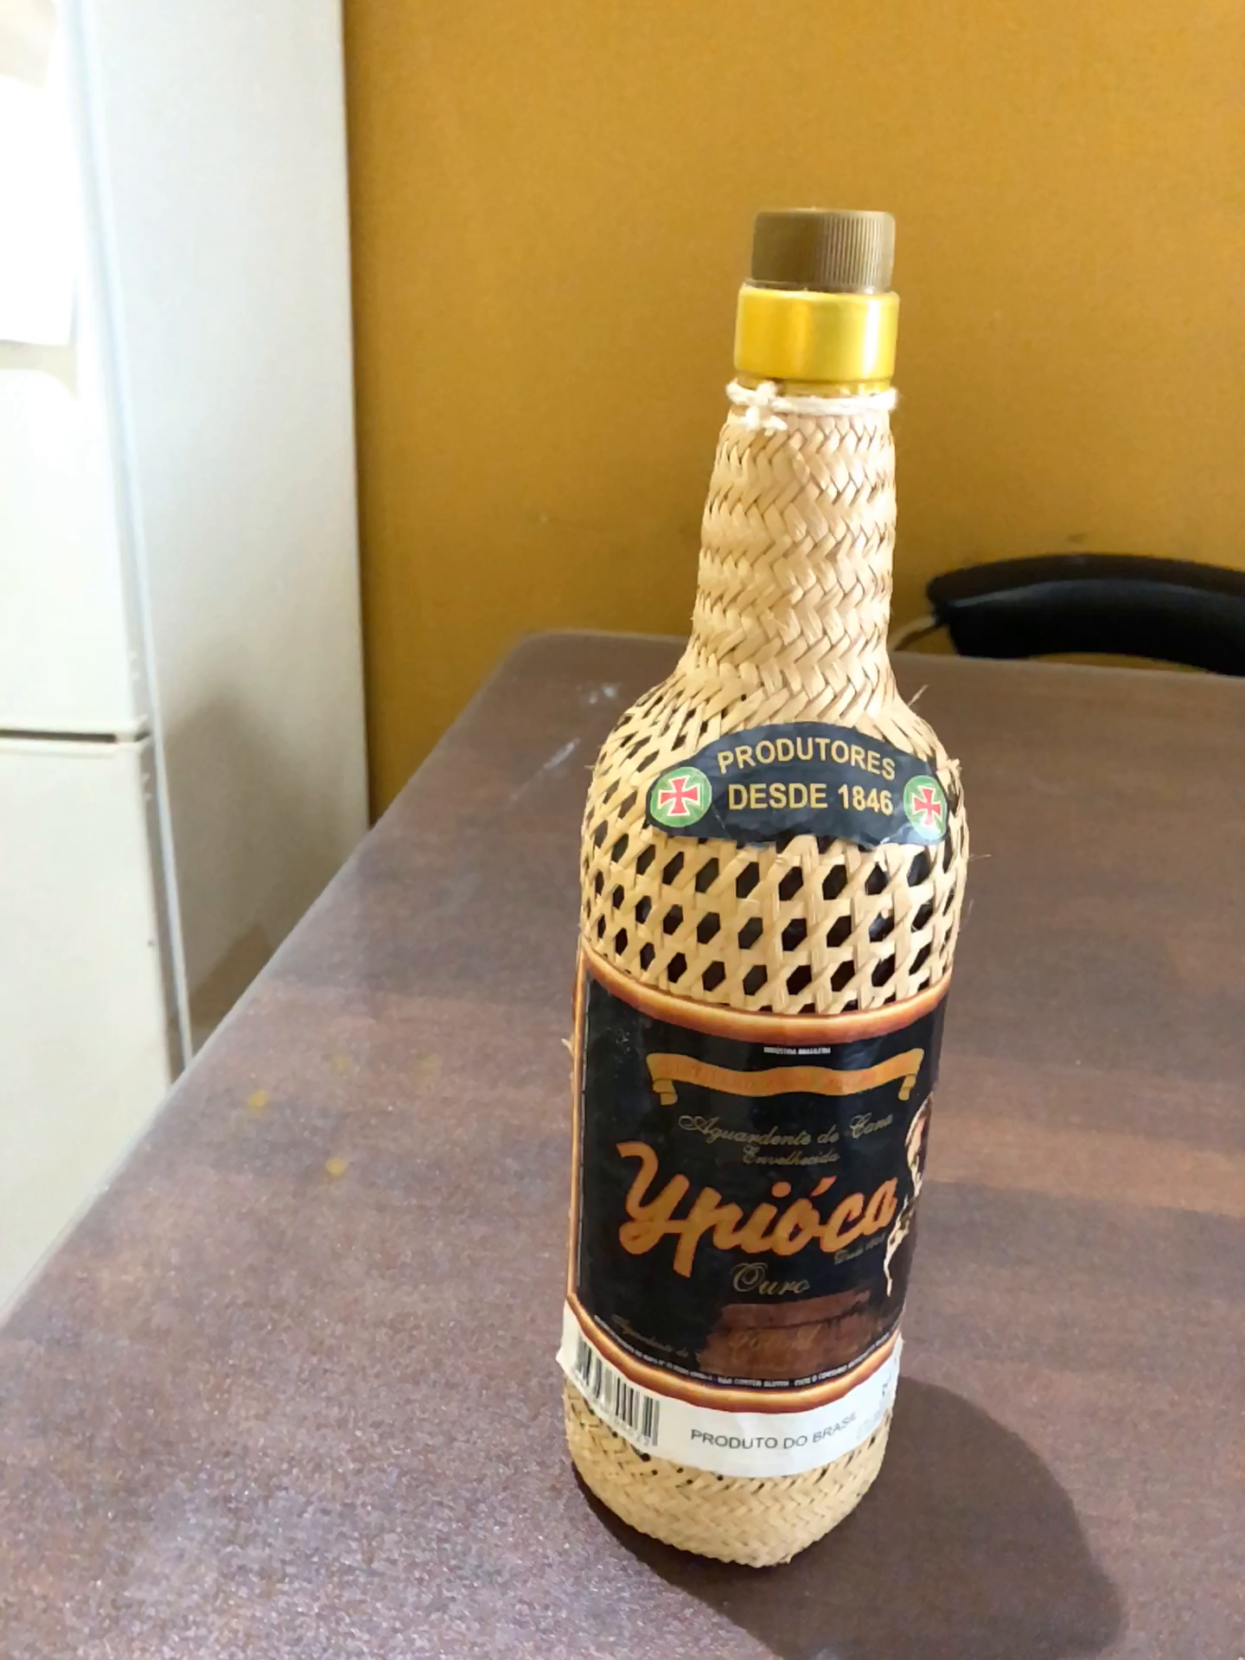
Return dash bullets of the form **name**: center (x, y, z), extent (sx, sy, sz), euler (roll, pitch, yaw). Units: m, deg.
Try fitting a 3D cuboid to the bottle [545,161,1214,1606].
- **bottle**: center (0.039, 0.024, 0.334), extent (0.100, 0.328, 0.091), euler (-2, 23, -11)
